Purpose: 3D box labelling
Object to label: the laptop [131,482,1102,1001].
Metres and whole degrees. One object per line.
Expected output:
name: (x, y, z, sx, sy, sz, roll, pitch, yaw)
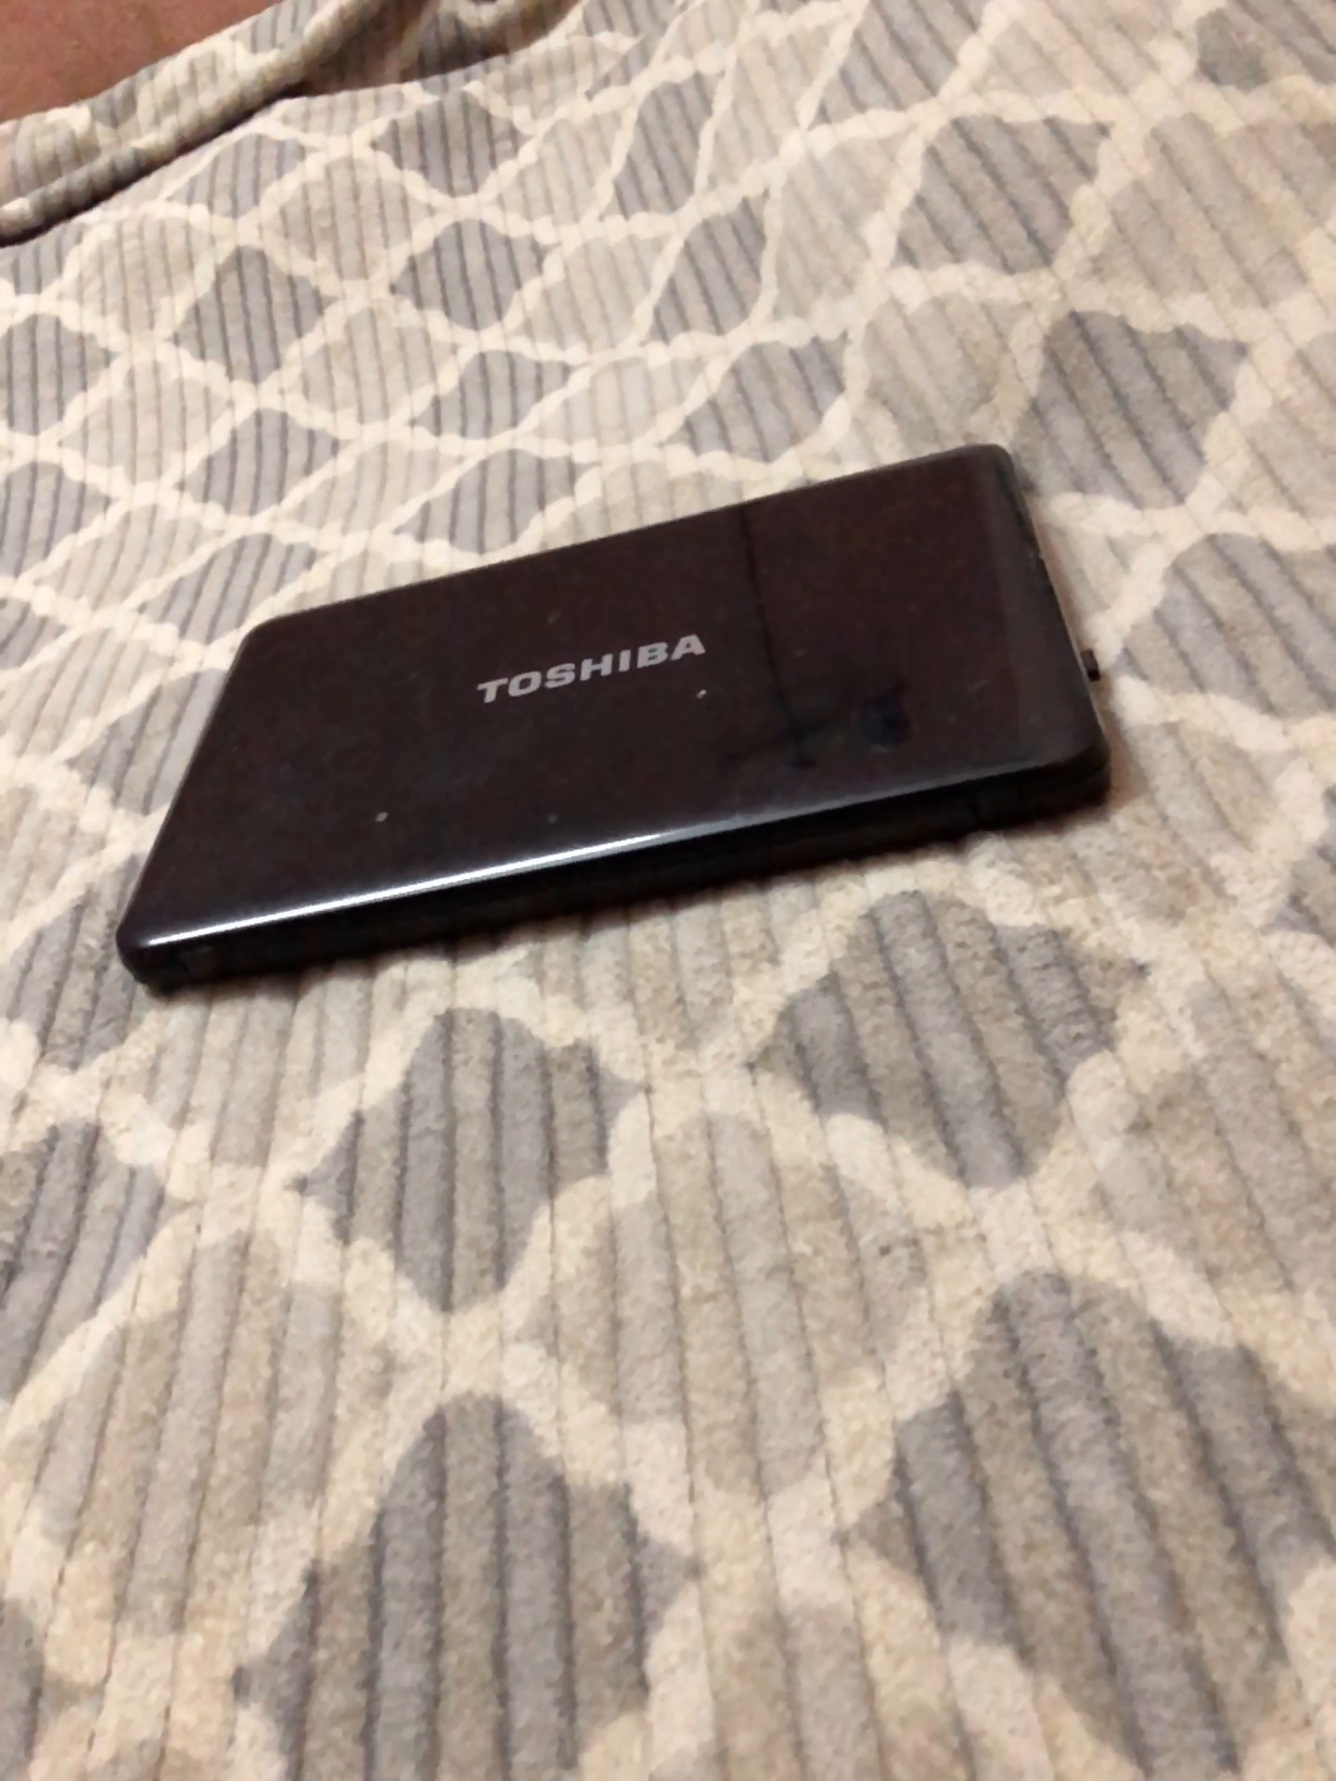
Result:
laptop: (-0.027, -0.075, 0.649, 0.375, 0.023, 0.249, -11, 37, 12)
